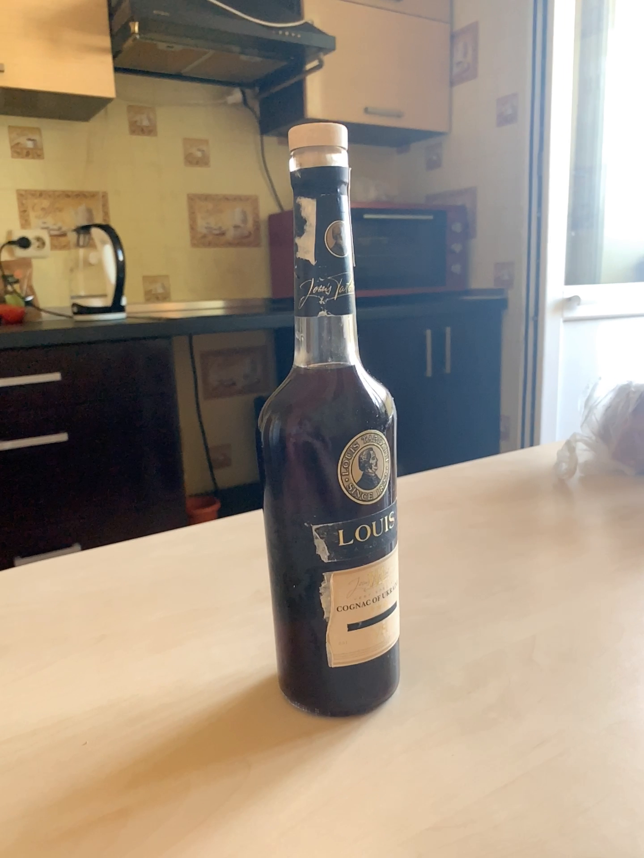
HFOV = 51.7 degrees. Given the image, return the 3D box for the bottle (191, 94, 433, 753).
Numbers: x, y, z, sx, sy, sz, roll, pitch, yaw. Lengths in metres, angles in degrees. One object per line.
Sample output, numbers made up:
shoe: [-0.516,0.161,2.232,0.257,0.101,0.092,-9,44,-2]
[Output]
bottle: [0.000,0.000,0.341,0.080,0.289,0.080,-2,12,0]
